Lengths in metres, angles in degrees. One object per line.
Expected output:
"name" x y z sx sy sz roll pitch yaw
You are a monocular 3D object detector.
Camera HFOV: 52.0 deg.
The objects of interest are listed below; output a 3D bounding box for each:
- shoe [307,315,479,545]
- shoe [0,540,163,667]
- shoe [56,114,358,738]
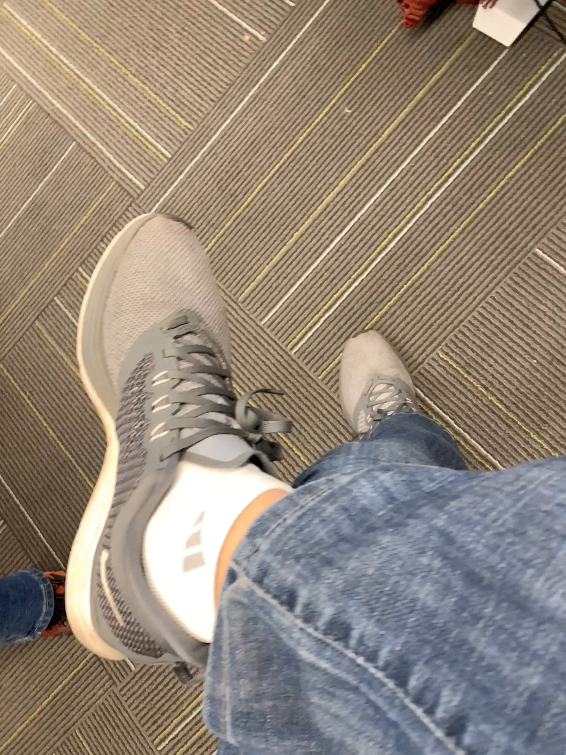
"shoe" 0.155 0.072 0.833 0.117 0.074 0.293 -28 75 14
"shoe" -0.369 0.388 1.006 0.277 0.117 0.112 -24 67 8
"shoe" -0.055 0.025 0.362 0.143 0.115 0.294 -17 71 51
